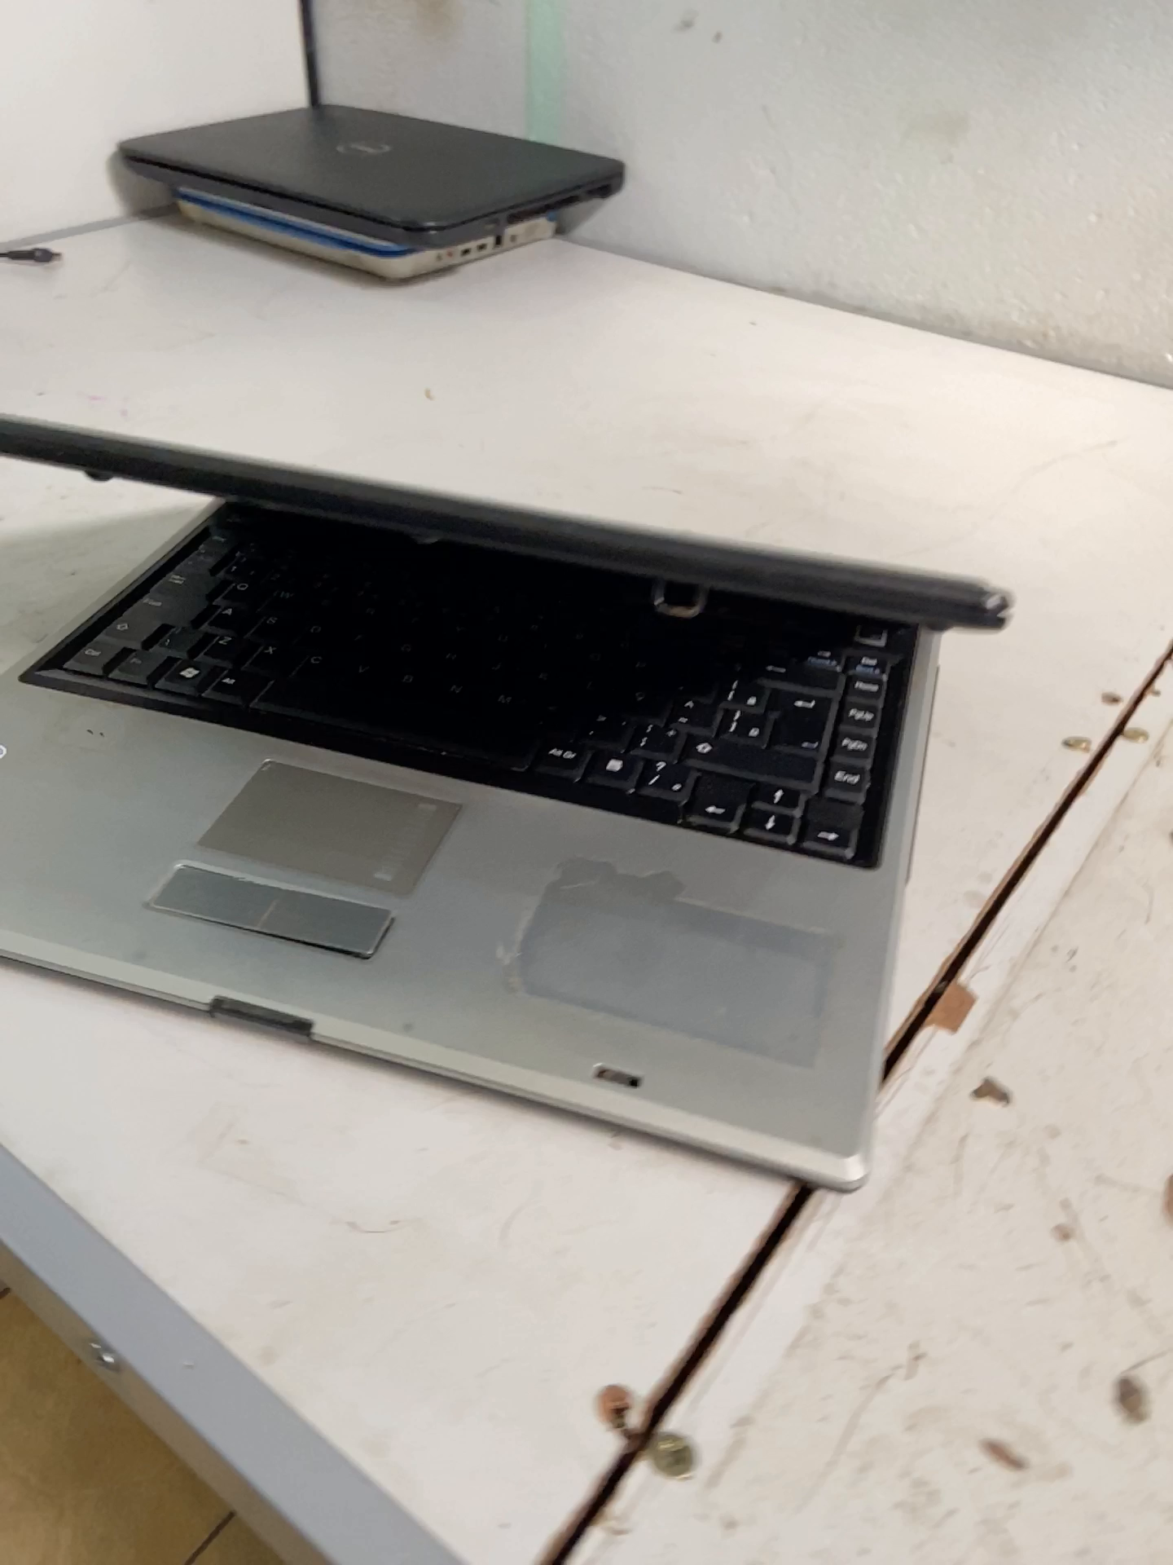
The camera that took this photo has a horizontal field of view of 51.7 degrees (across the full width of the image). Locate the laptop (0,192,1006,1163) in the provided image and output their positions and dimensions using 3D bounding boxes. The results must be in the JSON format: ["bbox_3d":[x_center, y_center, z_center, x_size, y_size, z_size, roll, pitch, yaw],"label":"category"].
[{"bbox_3d":[-0.049,-0.071,0.382,0.316,0.130,0.255,11,40,14],"label":"laptop"}]
